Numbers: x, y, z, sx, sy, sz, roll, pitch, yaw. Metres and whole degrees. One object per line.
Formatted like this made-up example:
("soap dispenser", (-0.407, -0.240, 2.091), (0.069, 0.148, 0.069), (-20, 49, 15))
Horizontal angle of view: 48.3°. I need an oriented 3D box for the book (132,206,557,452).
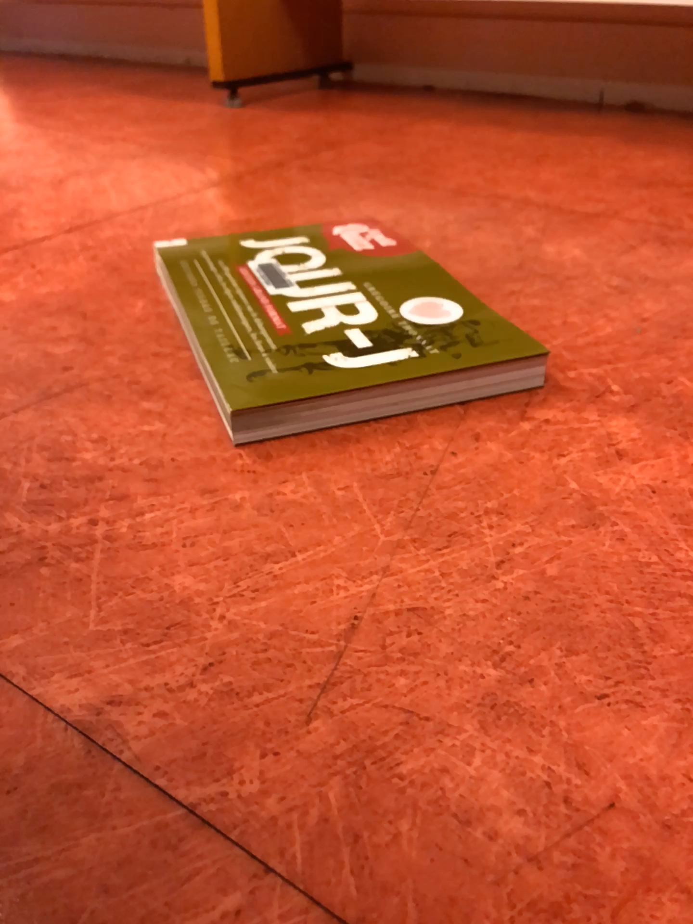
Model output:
("book", (-0.018, -0.082, 0.381), (0.137, 0.016, 0.219), (-12, 36, -18))
